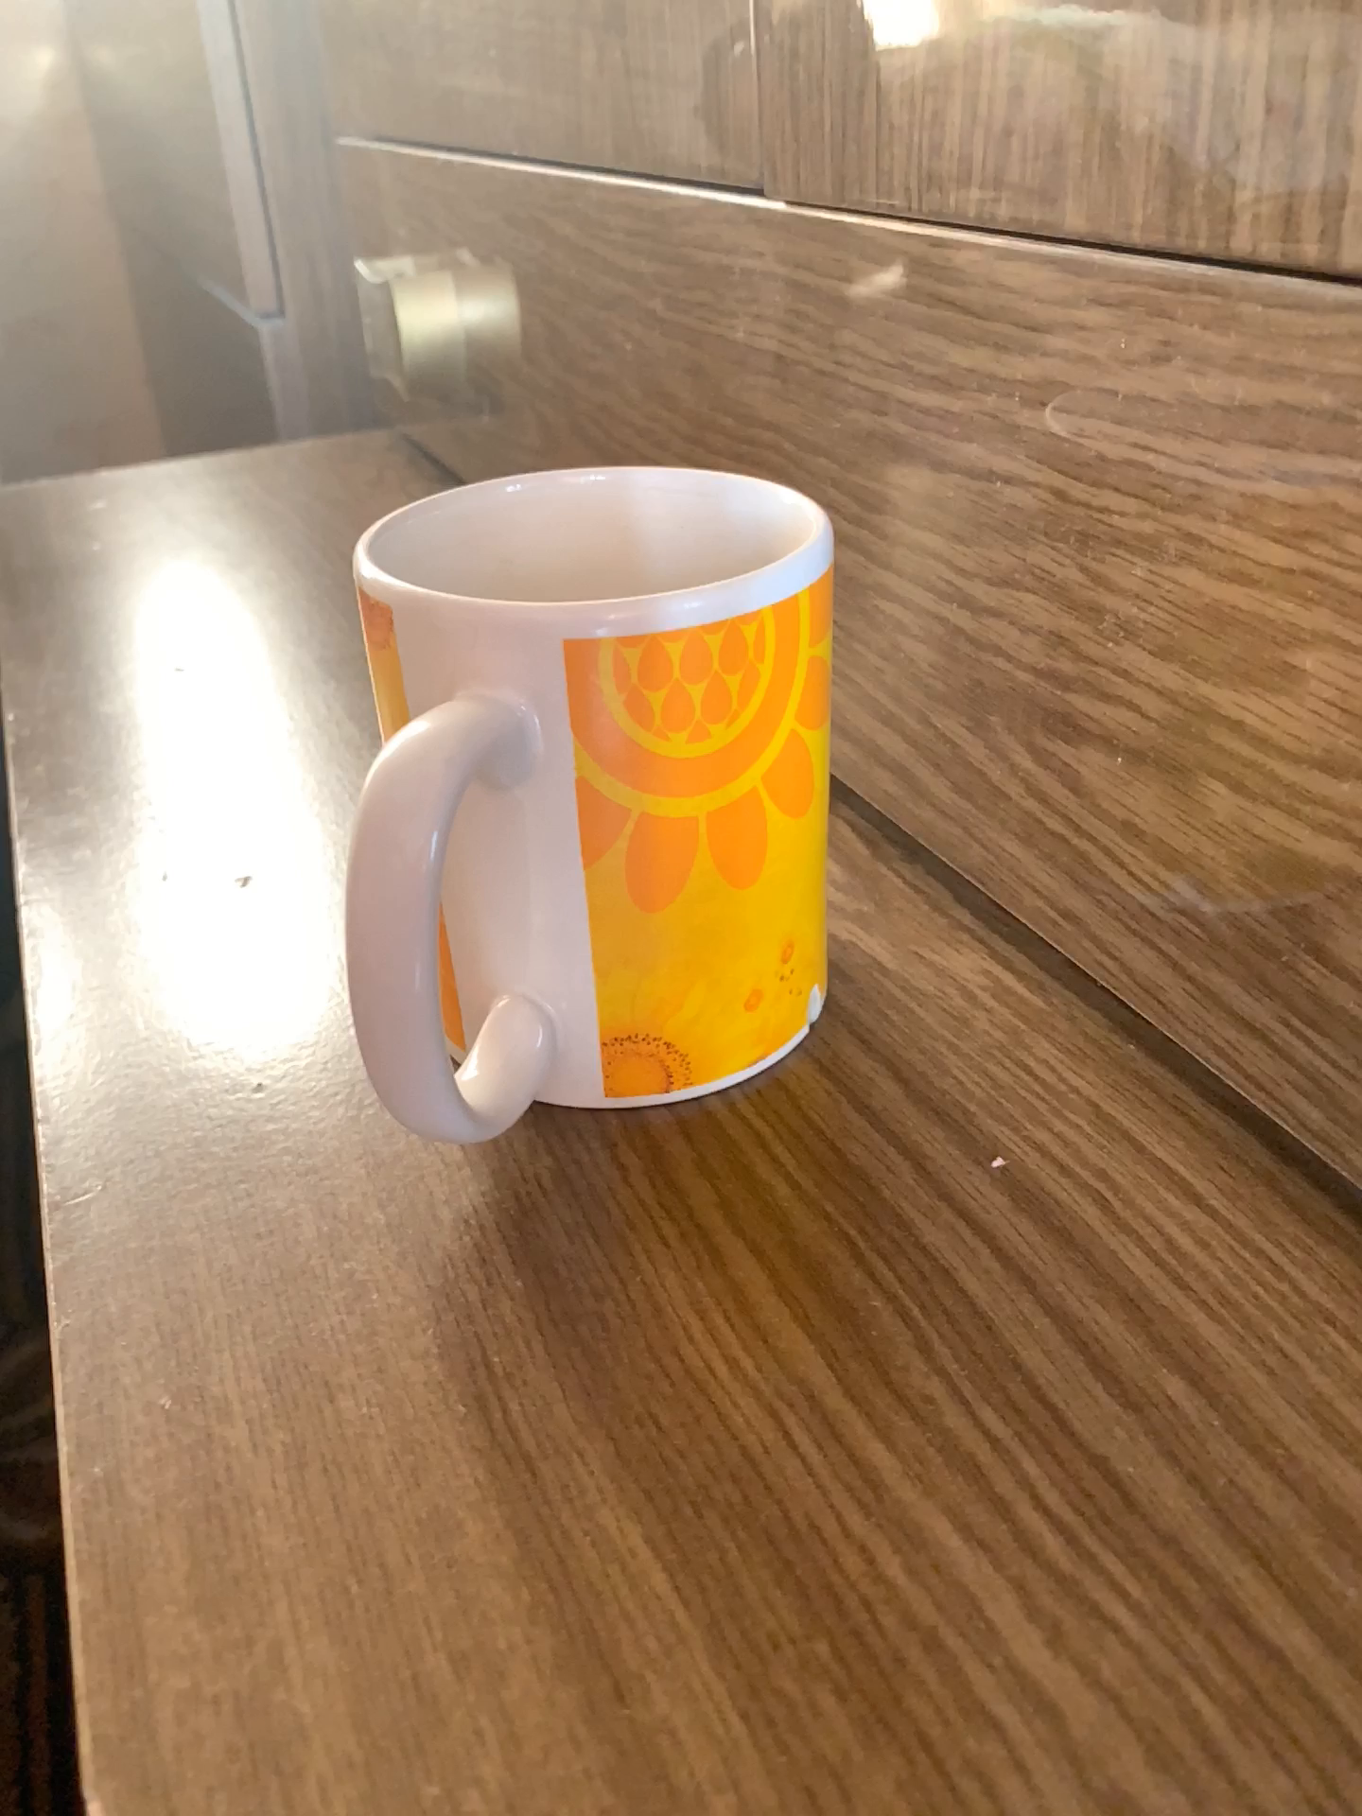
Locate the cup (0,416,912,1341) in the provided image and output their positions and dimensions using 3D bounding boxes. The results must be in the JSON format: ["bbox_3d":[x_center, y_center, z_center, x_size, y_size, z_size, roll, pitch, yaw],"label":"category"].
[{"bbox_3d":[-0.025,-0.018,0.244,0.090,0.097,0.124,12,34,23],"label":"cup"}]
